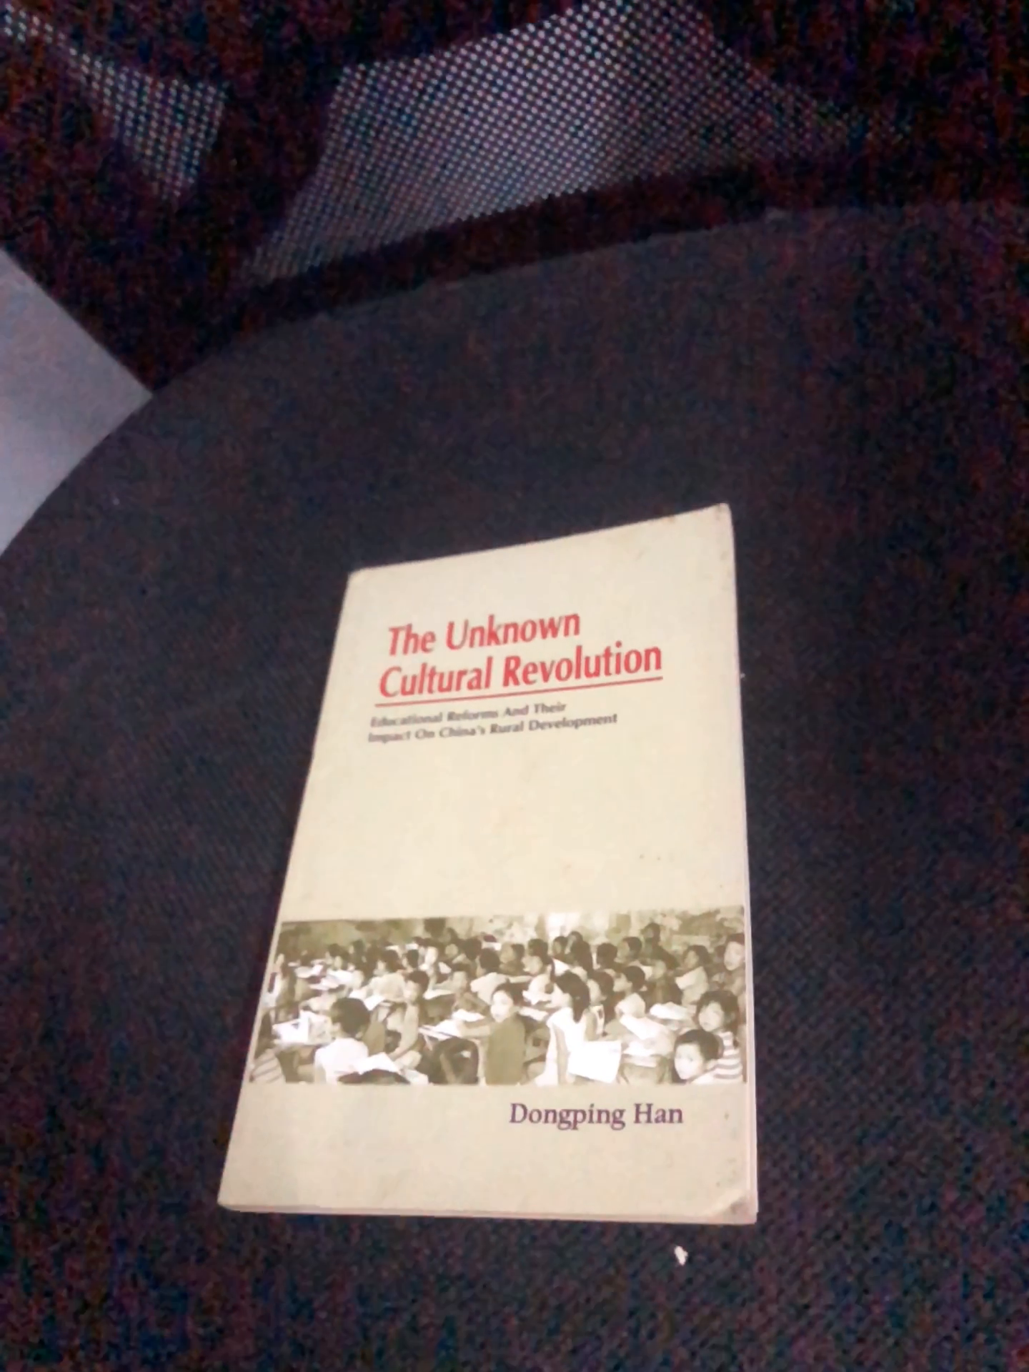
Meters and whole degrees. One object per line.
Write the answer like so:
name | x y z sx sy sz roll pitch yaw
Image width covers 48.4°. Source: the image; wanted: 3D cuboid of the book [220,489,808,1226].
book | 0.003 0.041 0.346 0.154 0.017 0.214 -6 58 19
